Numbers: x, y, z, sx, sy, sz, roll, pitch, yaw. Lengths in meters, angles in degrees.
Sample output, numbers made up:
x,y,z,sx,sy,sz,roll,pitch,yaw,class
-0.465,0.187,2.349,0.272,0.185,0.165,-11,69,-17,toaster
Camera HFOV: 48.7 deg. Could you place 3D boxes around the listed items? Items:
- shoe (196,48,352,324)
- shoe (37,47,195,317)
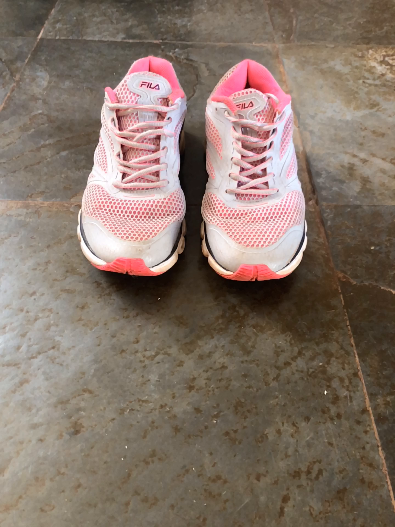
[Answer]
x,y,z,sx,sy,sz,roll,pitch,yaw,class
0.063,-0.094,0.443,0.110,0.099,0.292,3,53,1,shoe
-0.060,-0.095,0.436,0.110,0.099,0.282,1,53,-1,shoe
